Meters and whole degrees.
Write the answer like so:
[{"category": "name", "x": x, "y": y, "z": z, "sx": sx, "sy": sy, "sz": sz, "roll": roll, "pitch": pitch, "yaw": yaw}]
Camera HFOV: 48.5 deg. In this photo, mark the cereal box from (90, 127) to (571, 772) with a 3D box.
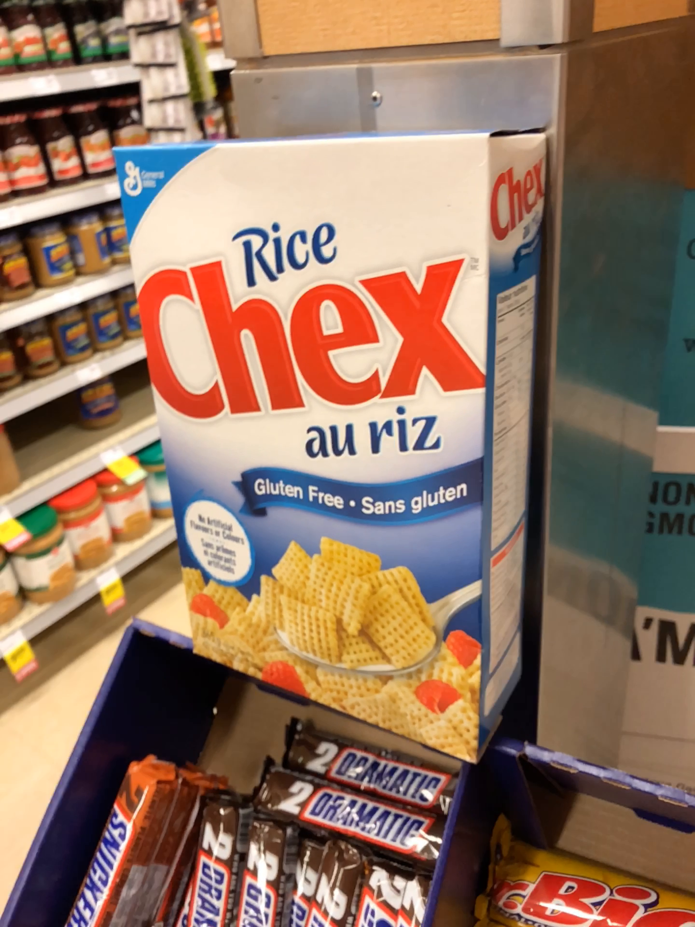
[{"category": "cereal box", "x": -0.011, "y": -0.014, "z": 0.400, "sx": 0.211, "sy": 0.288, "sz": 0.070, "roll": 12, "pitch": 27, "yaw": 30}]
